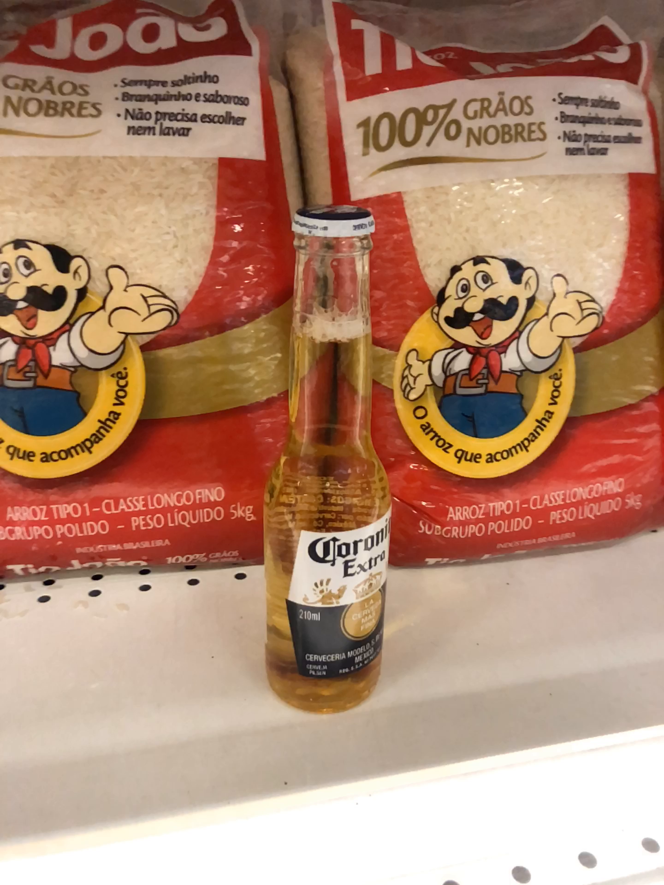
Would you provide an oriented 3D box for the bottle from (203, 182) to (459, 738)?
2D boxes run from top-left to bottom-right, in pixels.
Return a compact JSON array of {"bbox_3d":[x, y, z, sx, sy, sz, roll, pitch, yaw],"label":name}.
[{"bbox_3d":[-0.004,0.009,0.286,0.060,0.198,0.060,1,26,-1],"label":"bottle"}]
